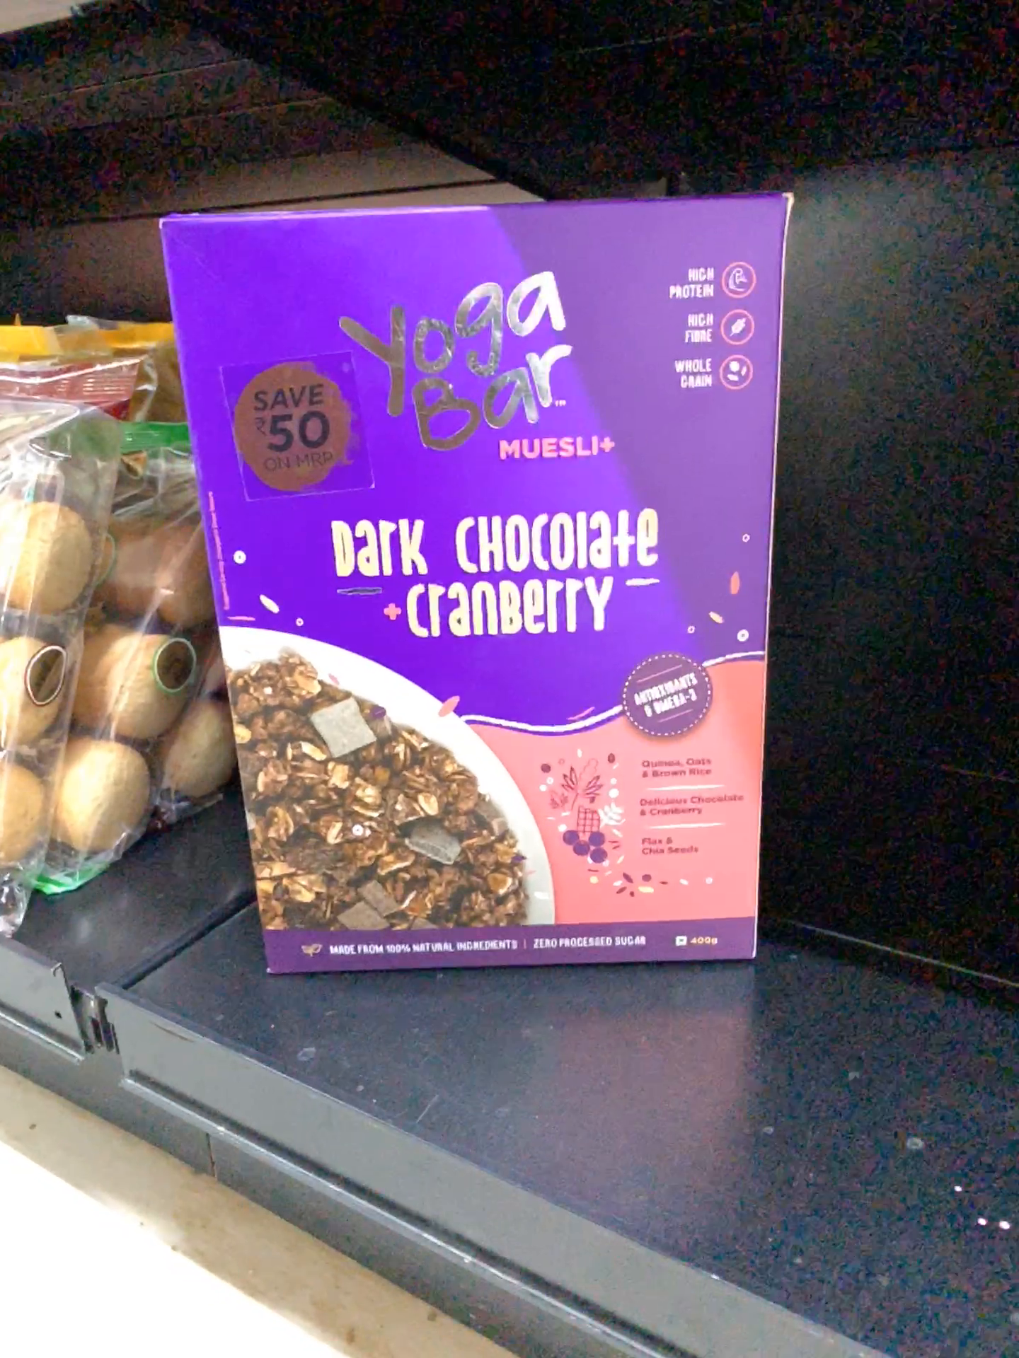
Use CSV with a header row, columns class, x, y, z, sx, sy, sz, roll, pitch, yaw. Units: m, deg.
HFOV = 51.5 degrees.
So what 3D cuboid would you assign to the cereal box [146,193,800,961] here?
class,x,y,z,sx,sy,sz,roll,pitch,yaw
cereal box,-0.007,-0.024,0.334,0.170,0.229,0.050,-1,19,2
